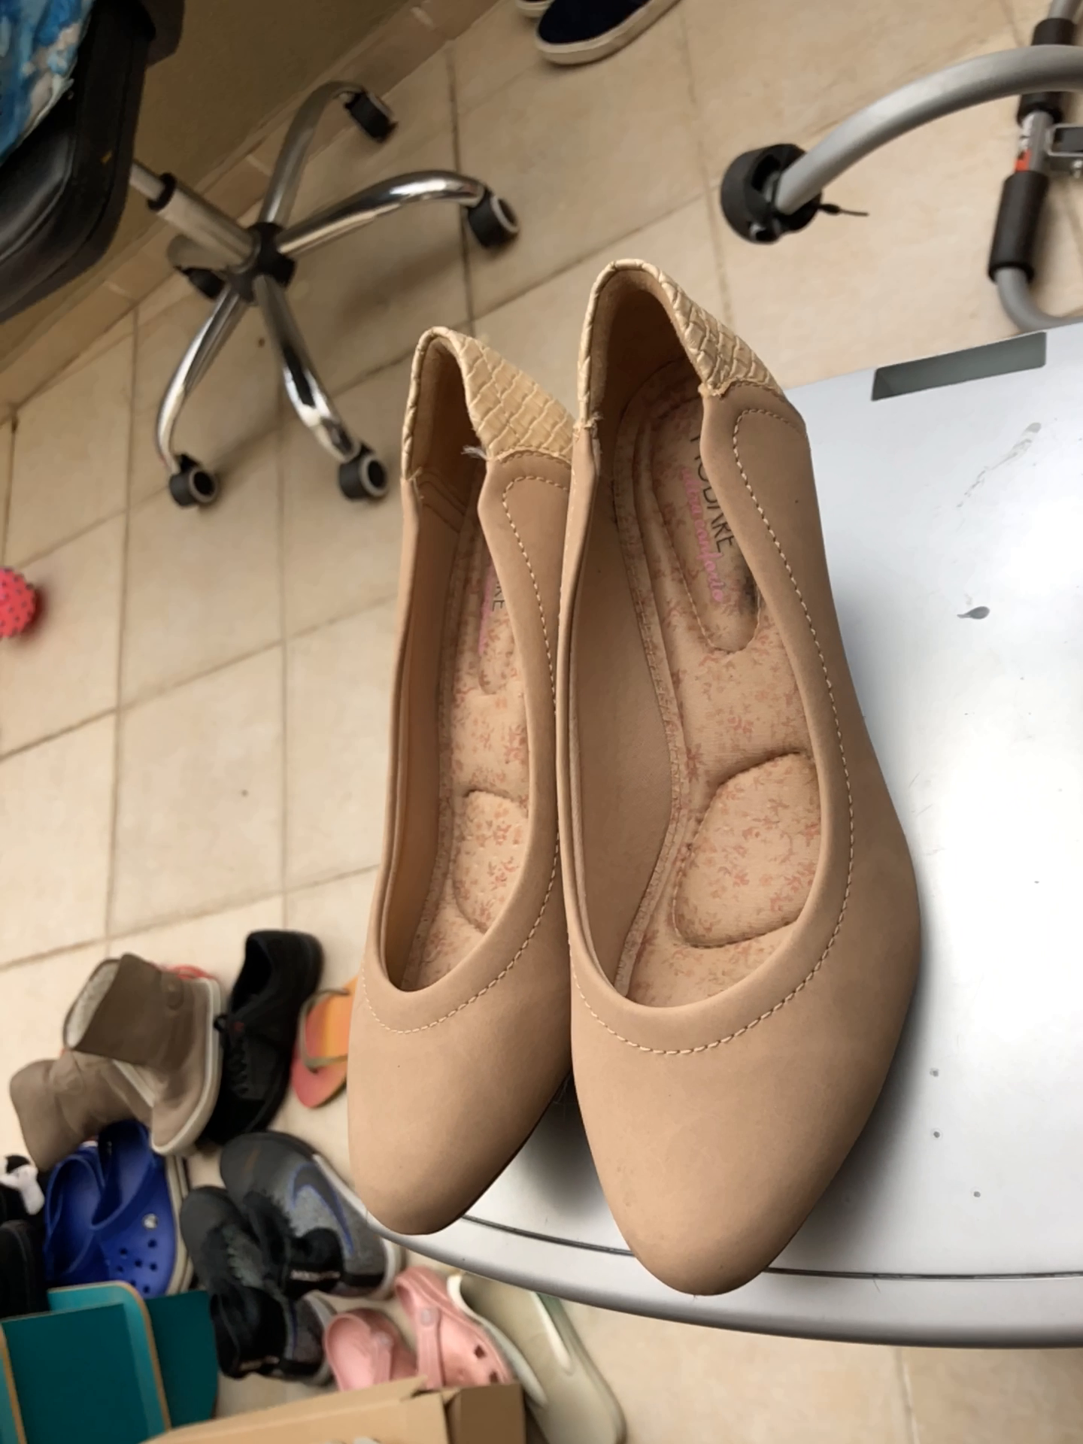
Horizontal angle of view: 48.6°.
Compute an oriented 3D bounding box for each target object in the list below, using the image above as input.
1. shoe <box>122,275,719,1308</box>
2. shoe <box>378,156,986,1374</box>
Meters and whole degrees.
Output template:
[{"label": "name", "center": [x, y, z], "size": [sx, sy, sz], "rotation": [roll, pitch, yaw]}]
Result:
[{"label": "shoe", "center": [-0.024, 0.021, 0.352], "size": [0.090, 0.119, 0.244], "rotation": [-4, 74, 36]}, {"label": "shoe", "center": [0.041, 0.012, 0.306], "size": [0.090, 0.119, 0.244], "rotation": [-10, 71, 34]}]
